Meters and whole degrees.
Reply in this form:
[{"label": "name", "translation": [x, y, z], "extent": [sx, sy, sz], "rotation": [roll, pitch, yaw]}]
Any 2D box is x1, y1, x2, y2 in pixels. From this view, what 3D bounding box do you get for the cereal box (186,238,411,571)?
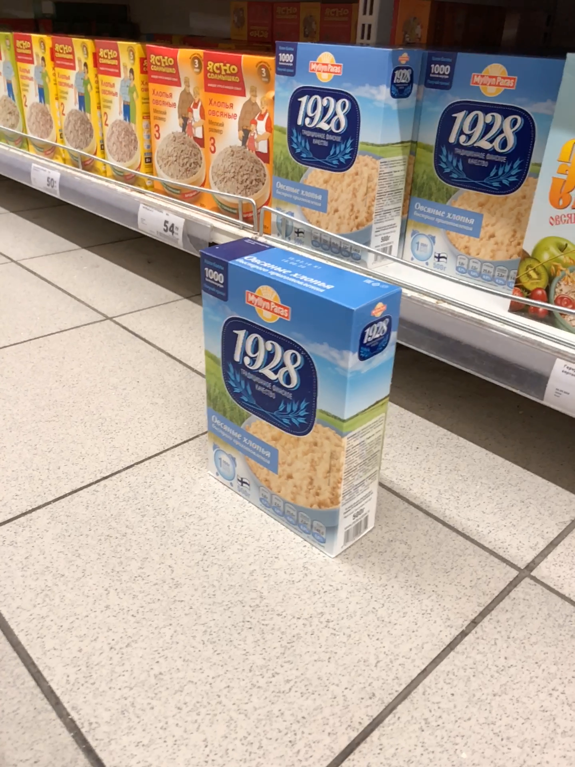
[{"label": "cereal box", "translation": [0.000, 0.011, 0.473], "extent": [0.150, 0.199, 0.060], "rotation": [26, 38, 36]}]
